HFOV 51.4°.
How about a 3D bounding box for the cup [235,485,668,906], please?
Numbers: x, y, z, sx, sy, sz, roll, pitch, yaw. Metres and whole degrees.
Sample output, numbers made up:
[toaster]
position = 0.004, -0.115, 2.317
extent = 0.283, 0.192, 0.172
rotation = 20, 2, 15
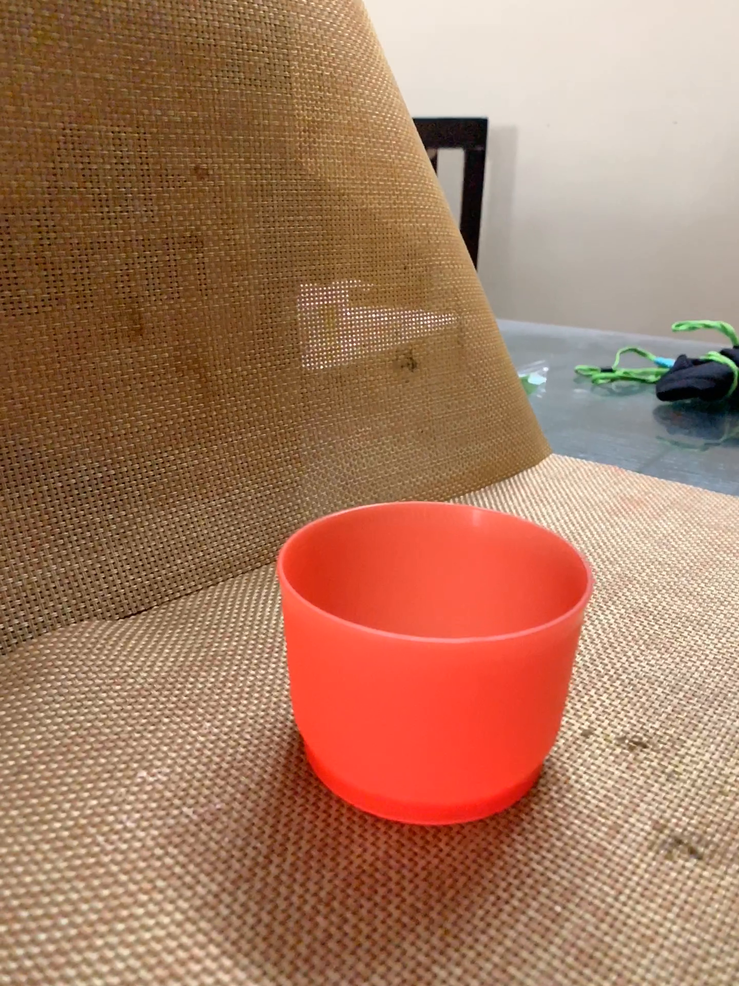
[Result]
[cup]
position = 0.016, 0.038, 0.185
extent = 0.070, 0.050, 0.070
rotation = 1, 20, 0
